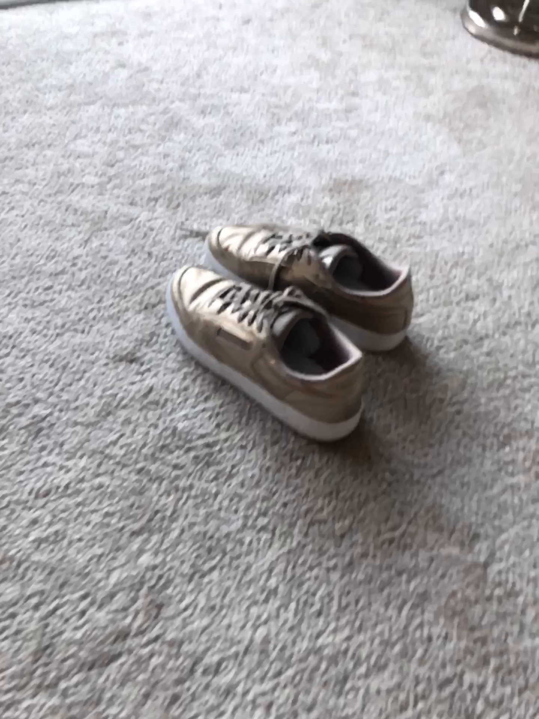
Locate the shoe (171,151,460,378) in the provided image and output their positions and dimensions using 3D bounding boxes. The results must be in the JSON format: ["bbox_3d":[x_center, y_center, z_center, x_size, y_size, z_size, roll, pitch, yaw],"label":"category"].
[{"bbox_3d":[0.039,-0.109,0.621,0.280,0.070,0.110,34,55,19],"label":"shoe"}]

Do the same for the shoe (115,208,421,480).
[{"bbox_3d":[-0.011,-0.028,0.566,0.280,0.070,0.110,38,56,22],"label":"shoe"}]
